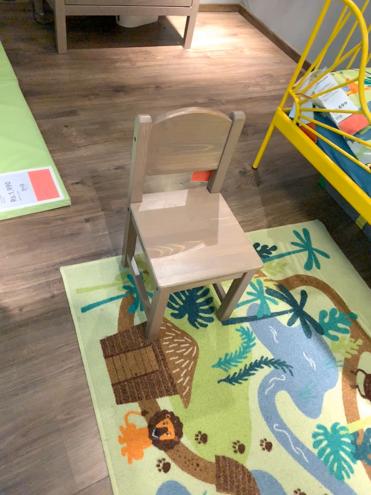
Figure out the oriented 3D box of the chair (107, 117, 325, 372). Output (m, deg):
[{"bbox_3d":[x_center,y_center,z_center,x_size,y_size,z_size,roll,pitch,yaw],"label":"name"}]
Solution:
[{"bbox_3d":[0.010,0.004,0.897,0.290,0.488,0.331,-10,53,-23],"label":"chair"}]
